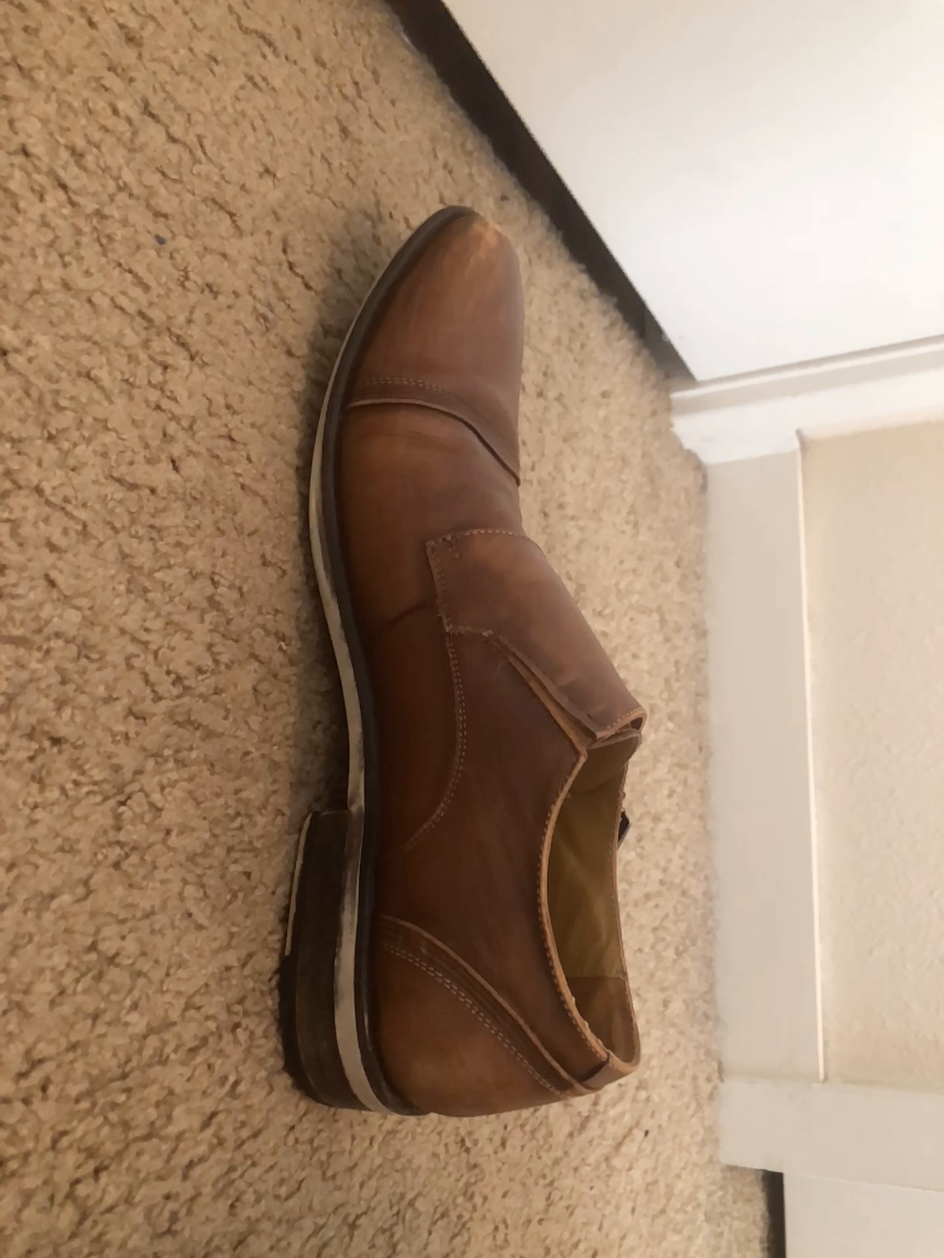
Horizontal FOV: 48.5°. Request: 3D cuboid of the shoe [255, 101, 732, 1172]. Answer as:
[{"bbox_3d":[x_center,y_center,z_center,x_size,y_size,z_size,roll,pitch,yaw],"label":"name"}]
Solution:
[{"bbox_3d":[0.015,0.000,0.340,0.100,0.106,0.286,25,64,-60],"label":"shoe"}]
